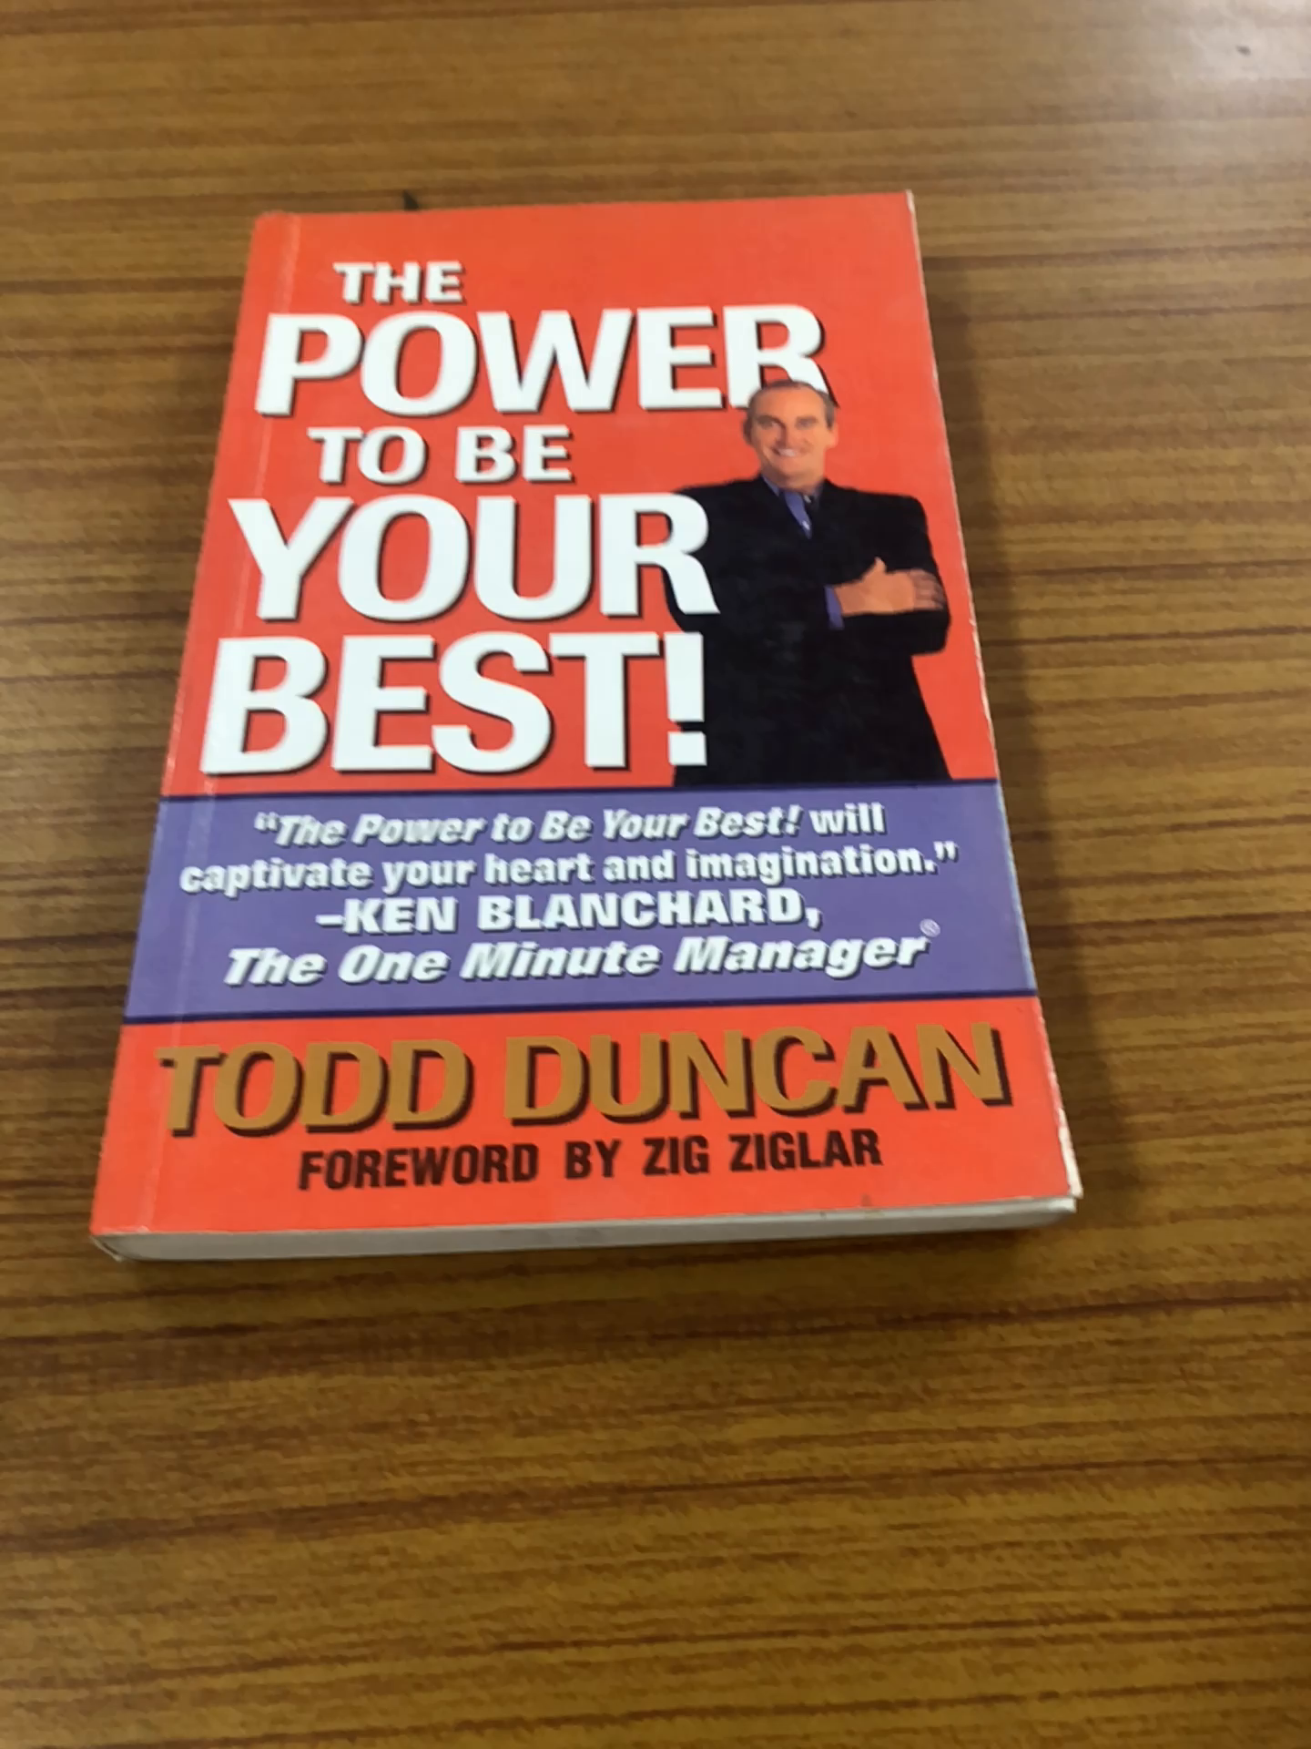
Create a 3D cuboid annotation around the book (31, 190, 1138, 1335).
[{"bbox_3d":[-0.011,-0.035,0.264,0.150,0.030,0.220,-1,62,0],"label":"book"}]
